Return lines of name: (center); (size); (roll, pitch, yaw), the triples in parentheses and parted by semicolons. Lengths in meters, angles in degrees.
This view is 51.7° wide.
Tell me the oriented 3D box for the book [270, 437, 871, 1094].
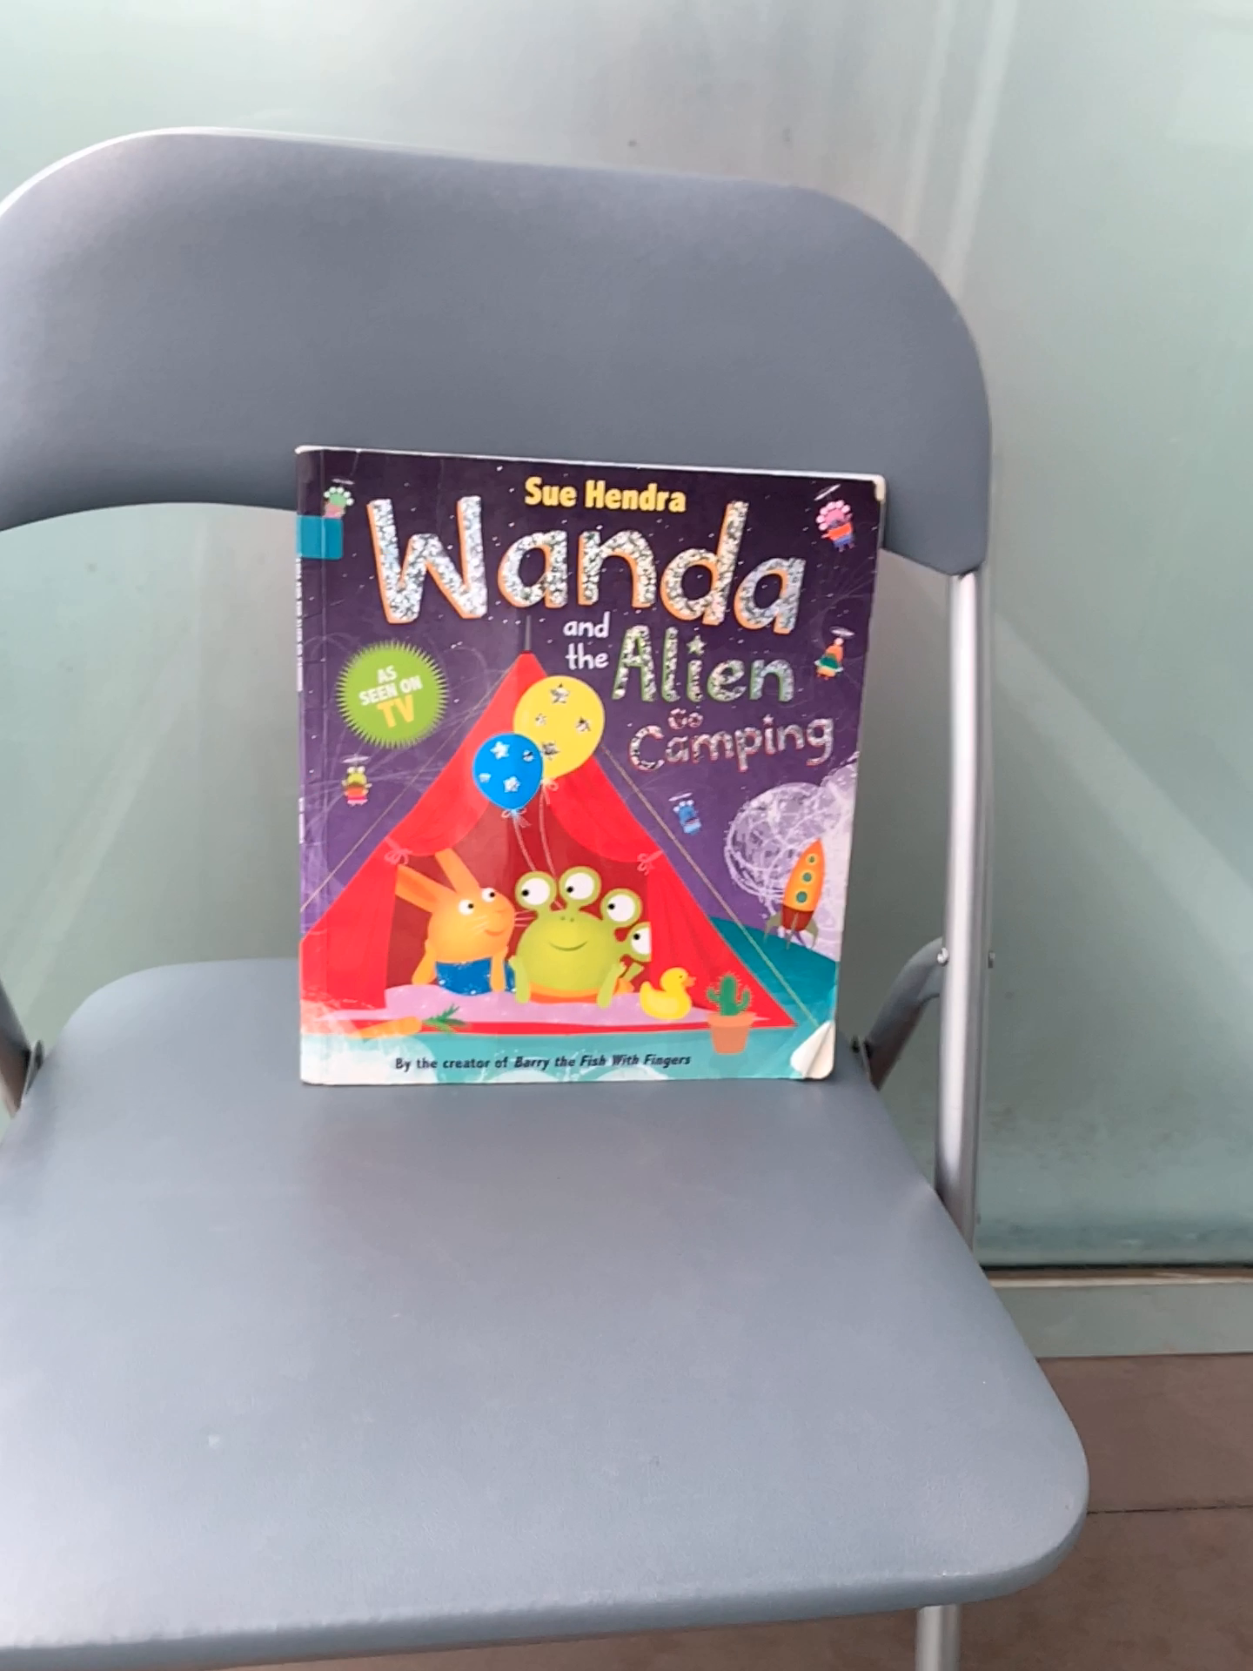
book: (-0.028, -0.020, 0.546); (0.230, 0.268, 0.030); (1, 17, -8)
